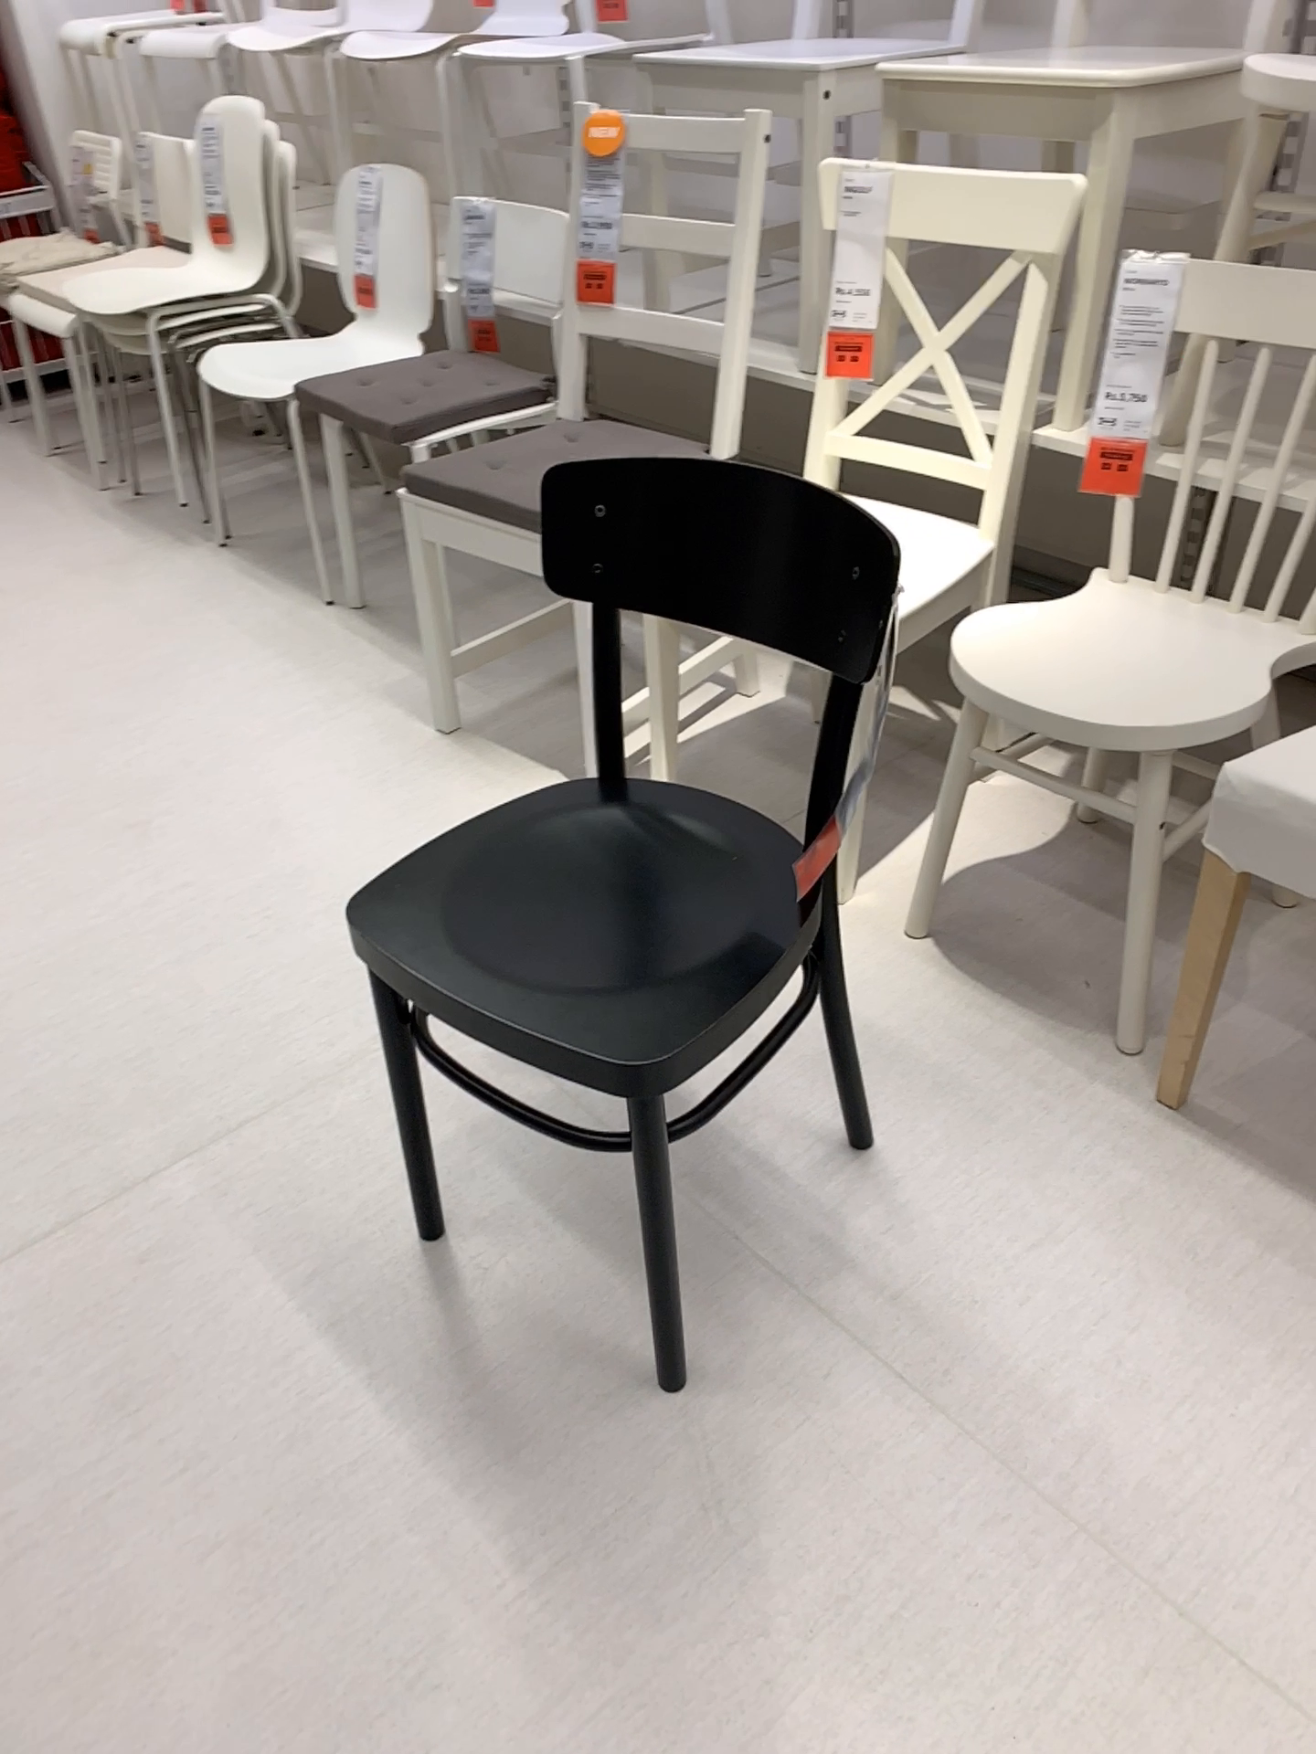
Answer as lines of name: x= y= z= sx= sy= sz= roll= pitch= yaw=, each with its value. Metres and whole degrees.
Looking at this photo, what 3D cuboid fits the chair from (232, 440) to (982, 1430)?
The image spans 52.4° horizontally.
chair: x=-0.009 y=0.044 z=1.344 sx=0.431 sy=0.767 sz=0.471 roll=21 pitch=43 yaw=31
